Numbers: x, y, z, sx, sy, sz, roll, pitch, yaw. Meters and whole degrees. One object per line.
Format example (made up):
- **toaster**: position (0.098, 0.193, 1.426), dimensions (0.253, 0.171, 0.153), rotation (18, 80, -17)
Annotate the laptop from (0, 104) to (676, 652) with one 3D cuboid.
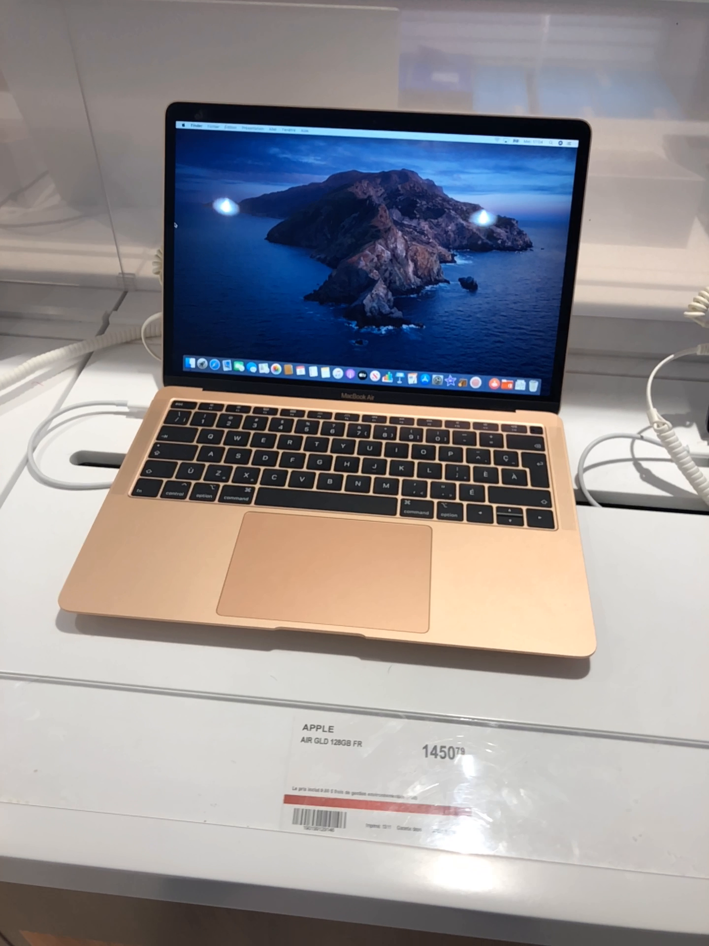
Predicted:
- **laptop**: position (-0.003, -0.080, 0.488), dimensions (0.291, 0.170, 0.305), rotation (4, 44, 4)
